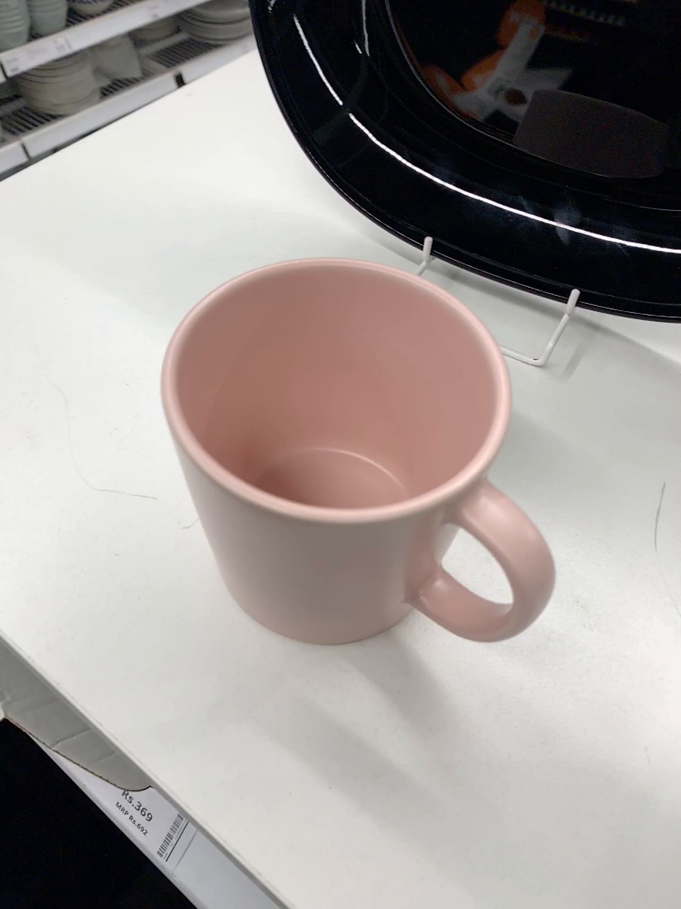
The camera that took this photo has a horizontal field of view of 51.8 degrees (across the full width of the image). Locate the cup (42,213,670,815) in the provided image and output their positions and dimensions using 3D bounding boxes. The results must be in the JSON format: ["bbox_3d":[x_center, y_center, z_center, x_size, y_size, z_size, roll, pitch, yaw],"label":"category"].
[{"bbox_3d":[0.000,0.011,0.198,0.120,0.080,0.090,39,59,22],"label":"cup"}]
